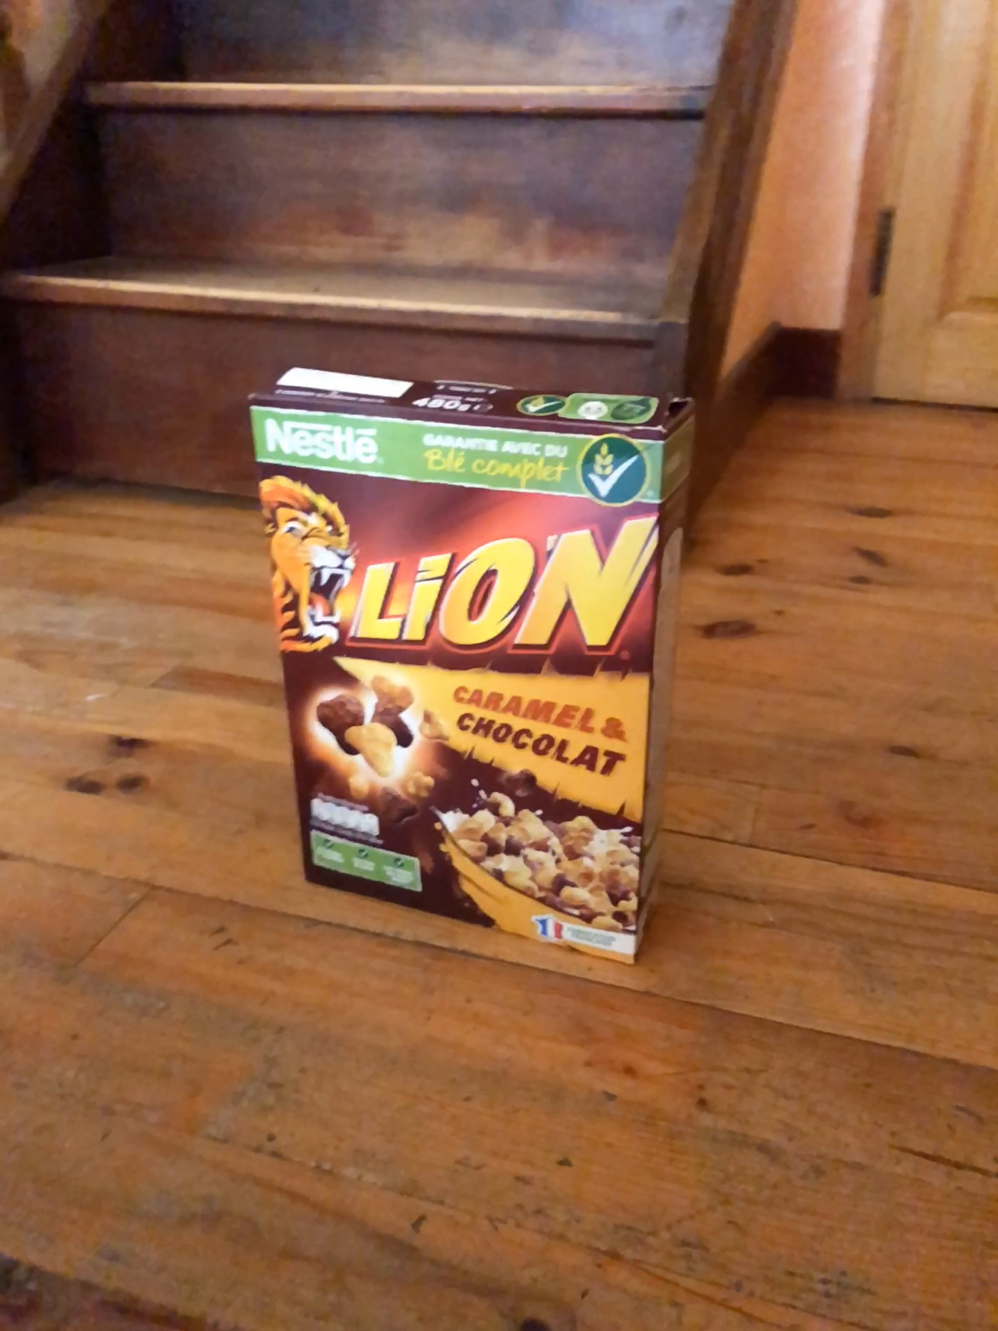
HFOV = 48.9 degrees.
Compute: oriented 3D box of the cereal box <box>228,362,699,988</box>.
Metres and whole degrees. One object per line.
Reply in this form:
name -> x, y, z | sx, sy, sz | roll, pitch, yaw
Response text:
cereal box -> -0.018, 0.005, 0.542 | 0.200, 0.278, 0.060 | 10, 26, 19
